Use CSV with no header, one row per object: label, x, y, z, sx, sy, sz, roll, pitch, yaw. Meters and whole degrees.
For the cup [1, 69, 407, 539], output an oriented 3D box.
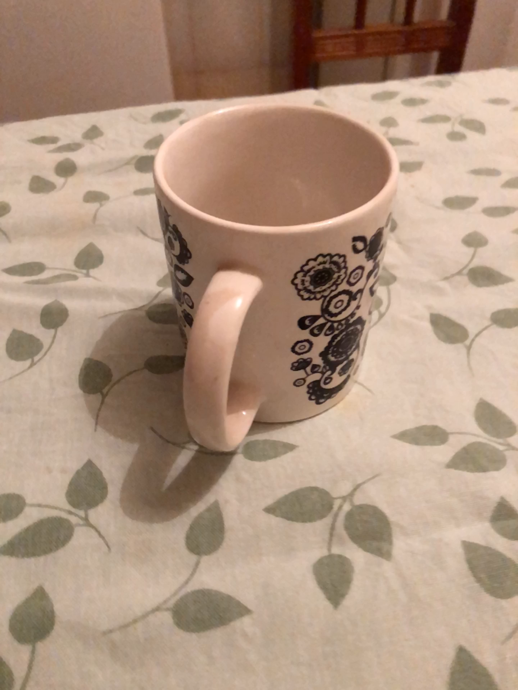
cup,-0.006,-0.019,0.208,0.080,0.099,0.121,14,50,13
